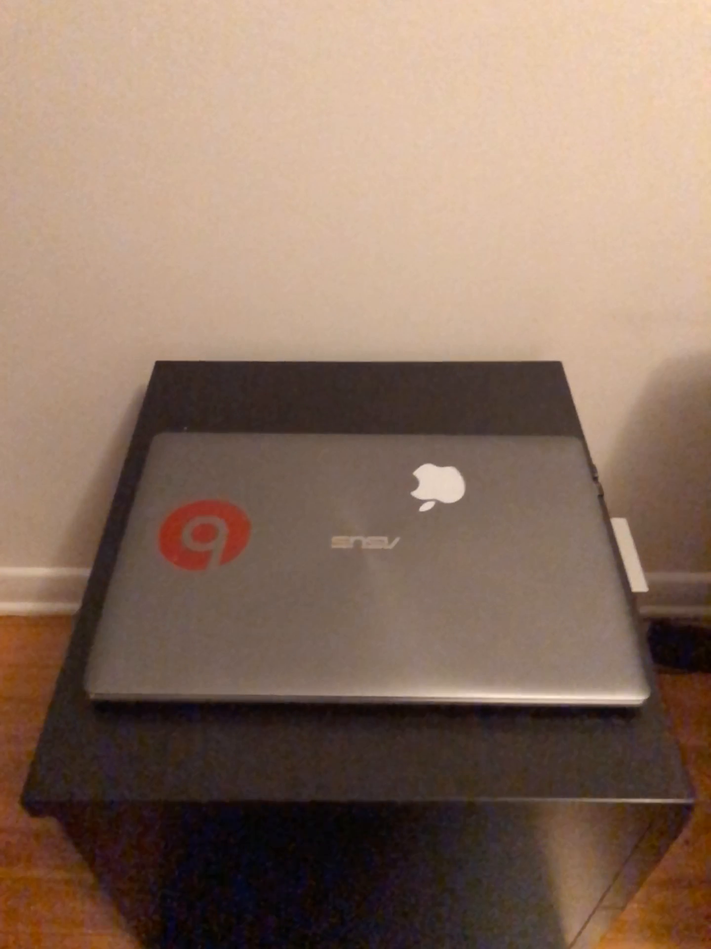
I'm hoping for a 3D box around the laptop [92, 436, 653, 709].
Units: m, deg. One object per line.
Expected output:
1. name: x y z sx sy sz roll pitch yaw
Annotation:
1. laptop: 0.010 0.061 0.608 0.373 0.010 0.250 0 46 1
